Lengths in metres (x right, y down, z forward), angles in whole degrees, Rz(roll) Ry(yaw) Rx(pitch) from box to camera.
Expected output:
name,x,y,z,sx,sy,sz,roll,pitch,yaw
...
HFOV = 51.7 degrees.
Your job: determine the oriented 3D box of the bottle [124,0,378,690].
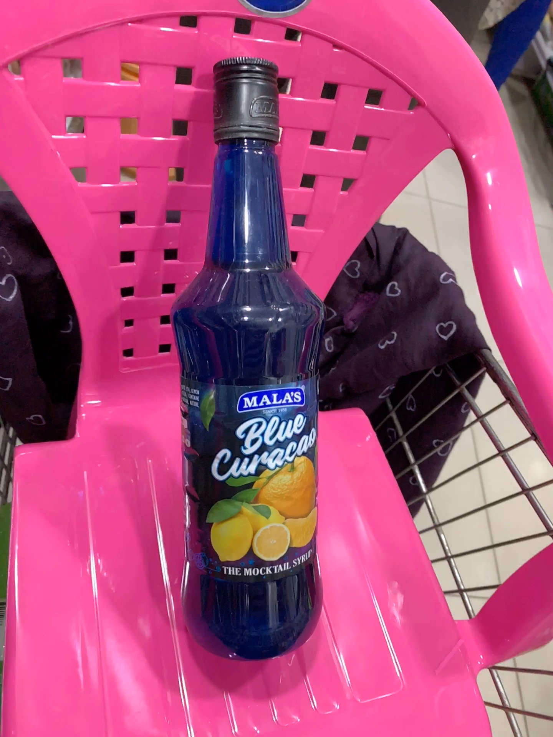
name,x,y,z,sx,sy,sz,roll,pitch,yaw
bottle,-0.016,-0.002,0.266,0.080,0.270,0.080,0,16,0
